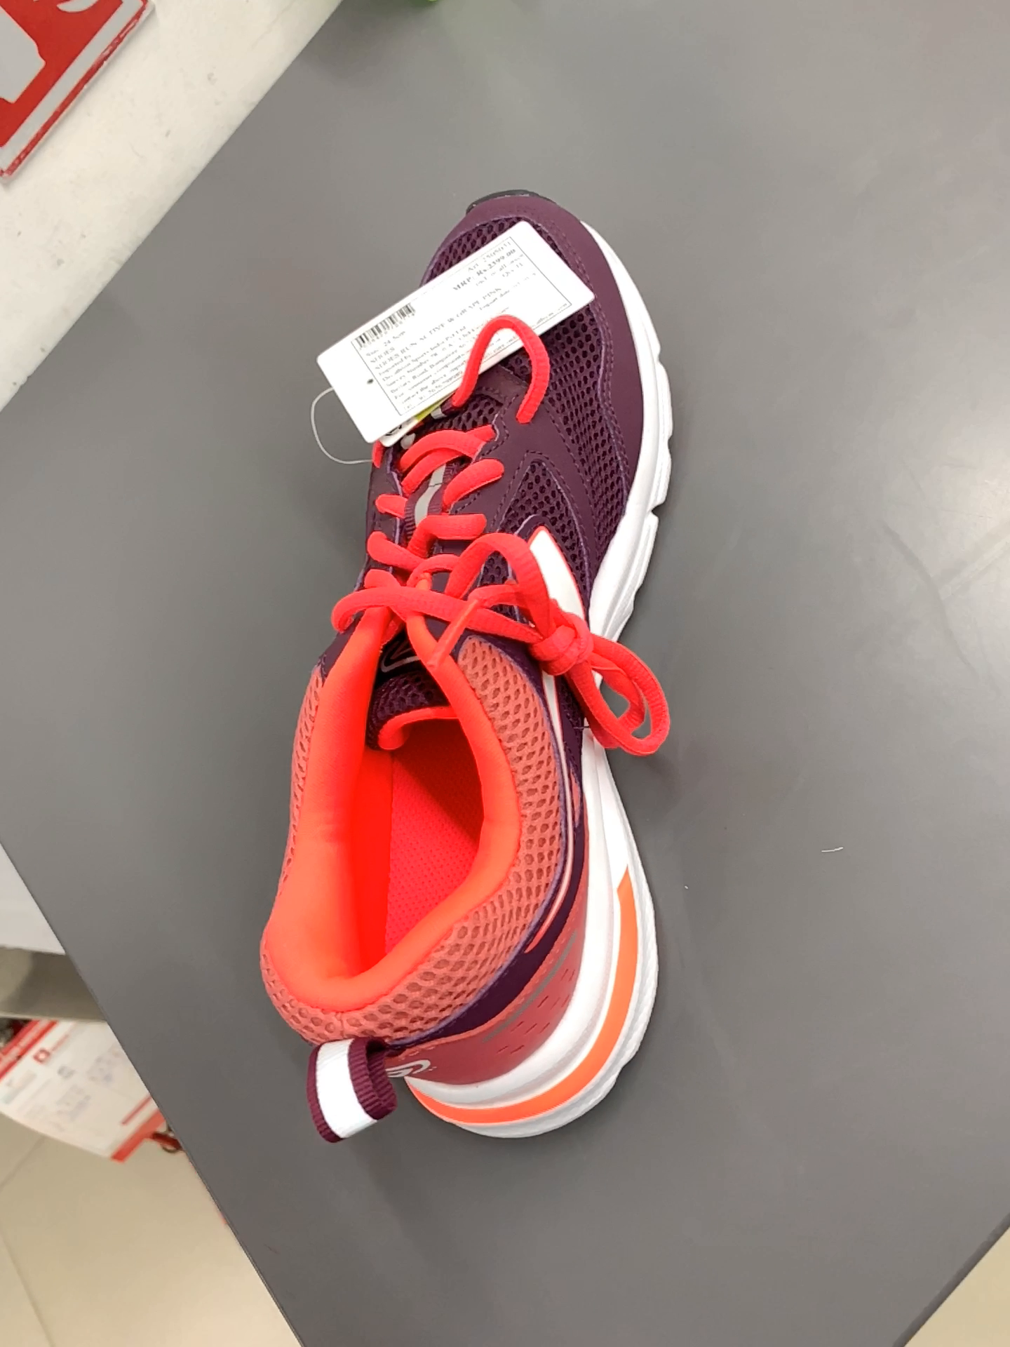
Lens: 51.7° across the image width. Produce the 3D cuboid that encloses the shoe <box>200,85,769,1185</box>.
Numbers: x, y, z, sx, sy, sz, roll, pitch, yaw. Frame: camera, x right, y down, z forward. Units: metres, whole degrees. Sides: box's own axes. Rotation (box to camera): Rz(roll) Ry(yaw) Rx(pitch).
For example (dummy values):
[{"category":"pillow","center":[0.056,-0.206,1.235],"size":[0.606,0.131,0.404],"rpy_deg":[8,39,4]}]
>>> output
[{"category":"shoe","center":[0.004,-0.012,0.309],"size":[0.110,0.100,0.280],"rpy_deg":[-8,68,23]}]
